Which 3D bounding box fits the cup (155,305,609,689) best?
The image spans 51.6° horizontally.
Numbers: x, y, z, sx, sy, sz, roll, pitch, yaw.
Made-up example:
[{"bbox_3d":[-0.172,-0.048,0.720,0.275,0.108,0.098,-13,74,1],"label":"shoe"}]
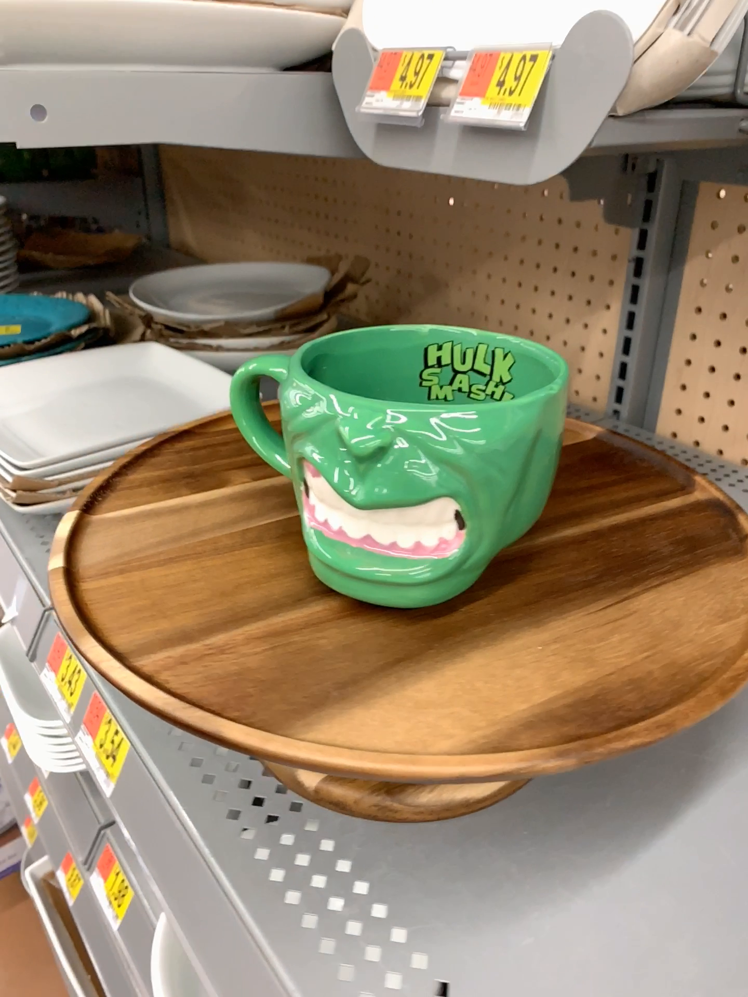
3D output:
[{"bbox_3d":[0.011,-0.015,0.328,0.140,0.090,0.131,0,28,0],"label":"cup"}]
